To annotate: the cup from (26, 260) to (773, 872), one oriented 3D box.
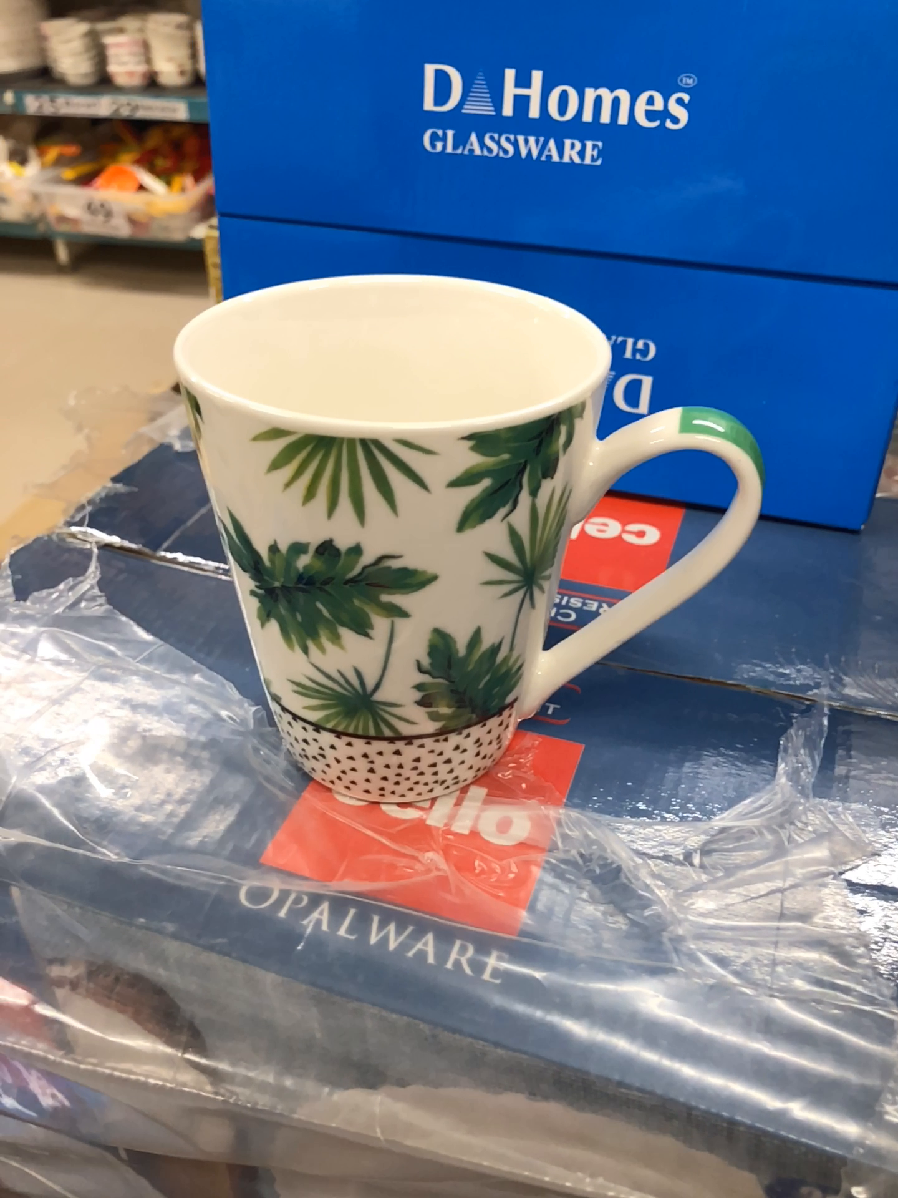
[{"bbox_3d":[-0.004,-0.010,0.221,0.120,0.099,0.081,4,36,6],"label":"cup"}]
